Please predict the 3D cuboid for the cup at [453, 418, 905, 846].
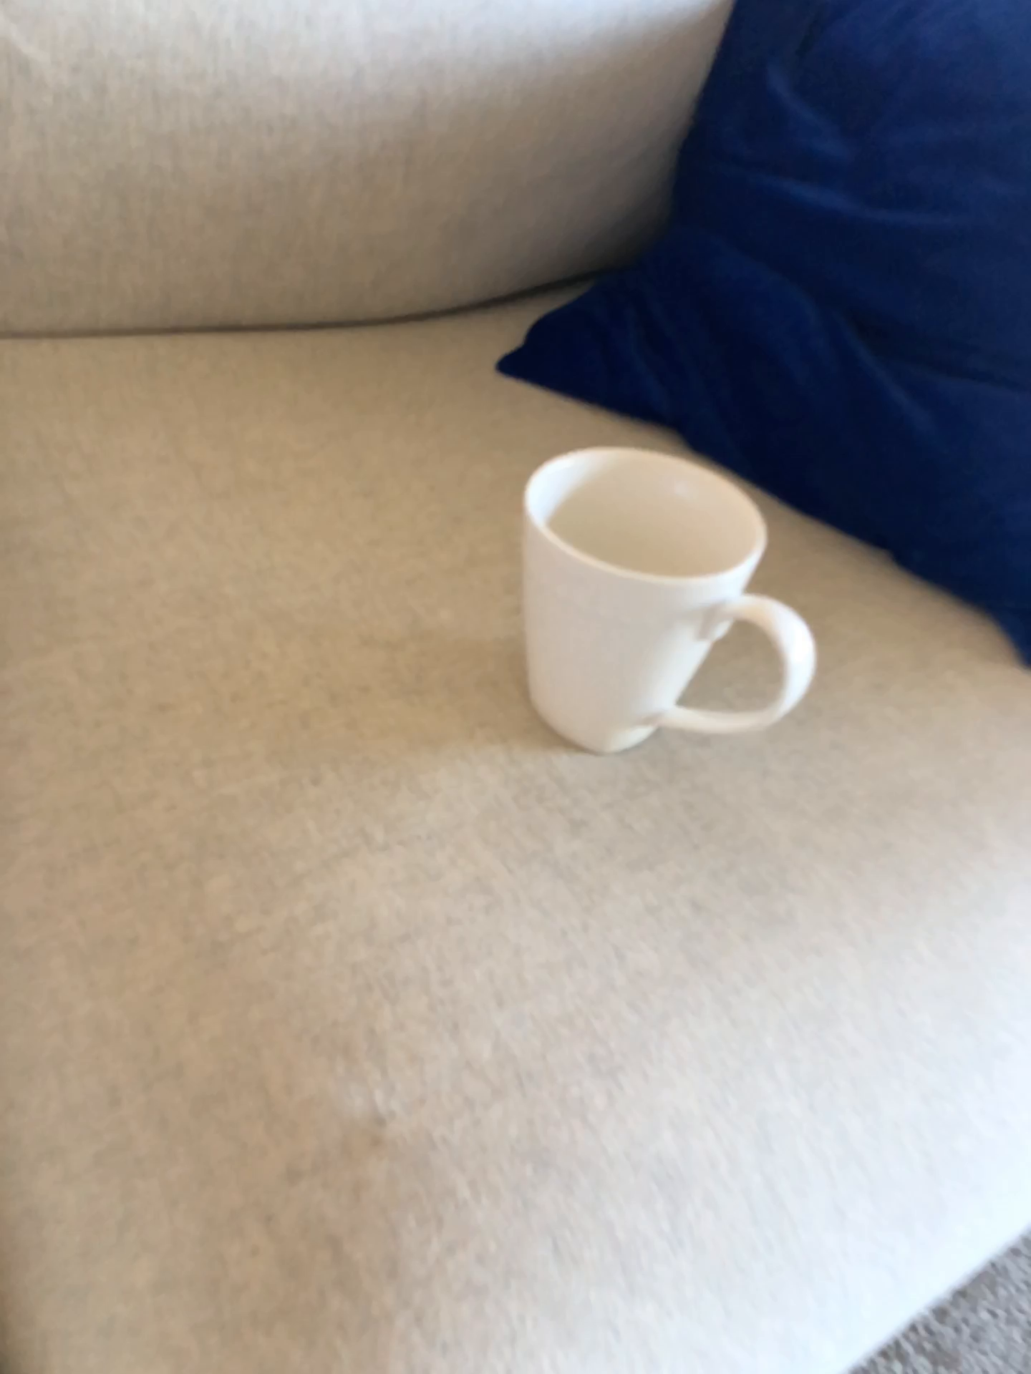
[{"bbox_3d":[0.059,-0.028,0.457,0.100,0.090,0.130,-21,54,-34],"label":"cup"}]
